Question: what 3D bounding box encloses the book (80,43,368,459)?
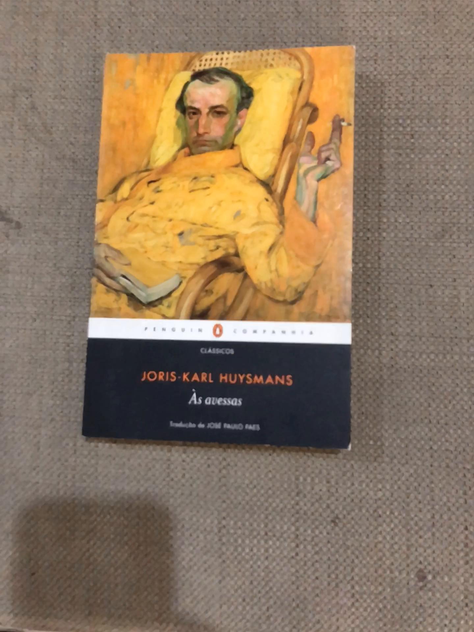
[{"bbox_3d":[-0.004,-0.034,0.260,0.130,0.023,0.195,2,85,7],"label":"book"}]
